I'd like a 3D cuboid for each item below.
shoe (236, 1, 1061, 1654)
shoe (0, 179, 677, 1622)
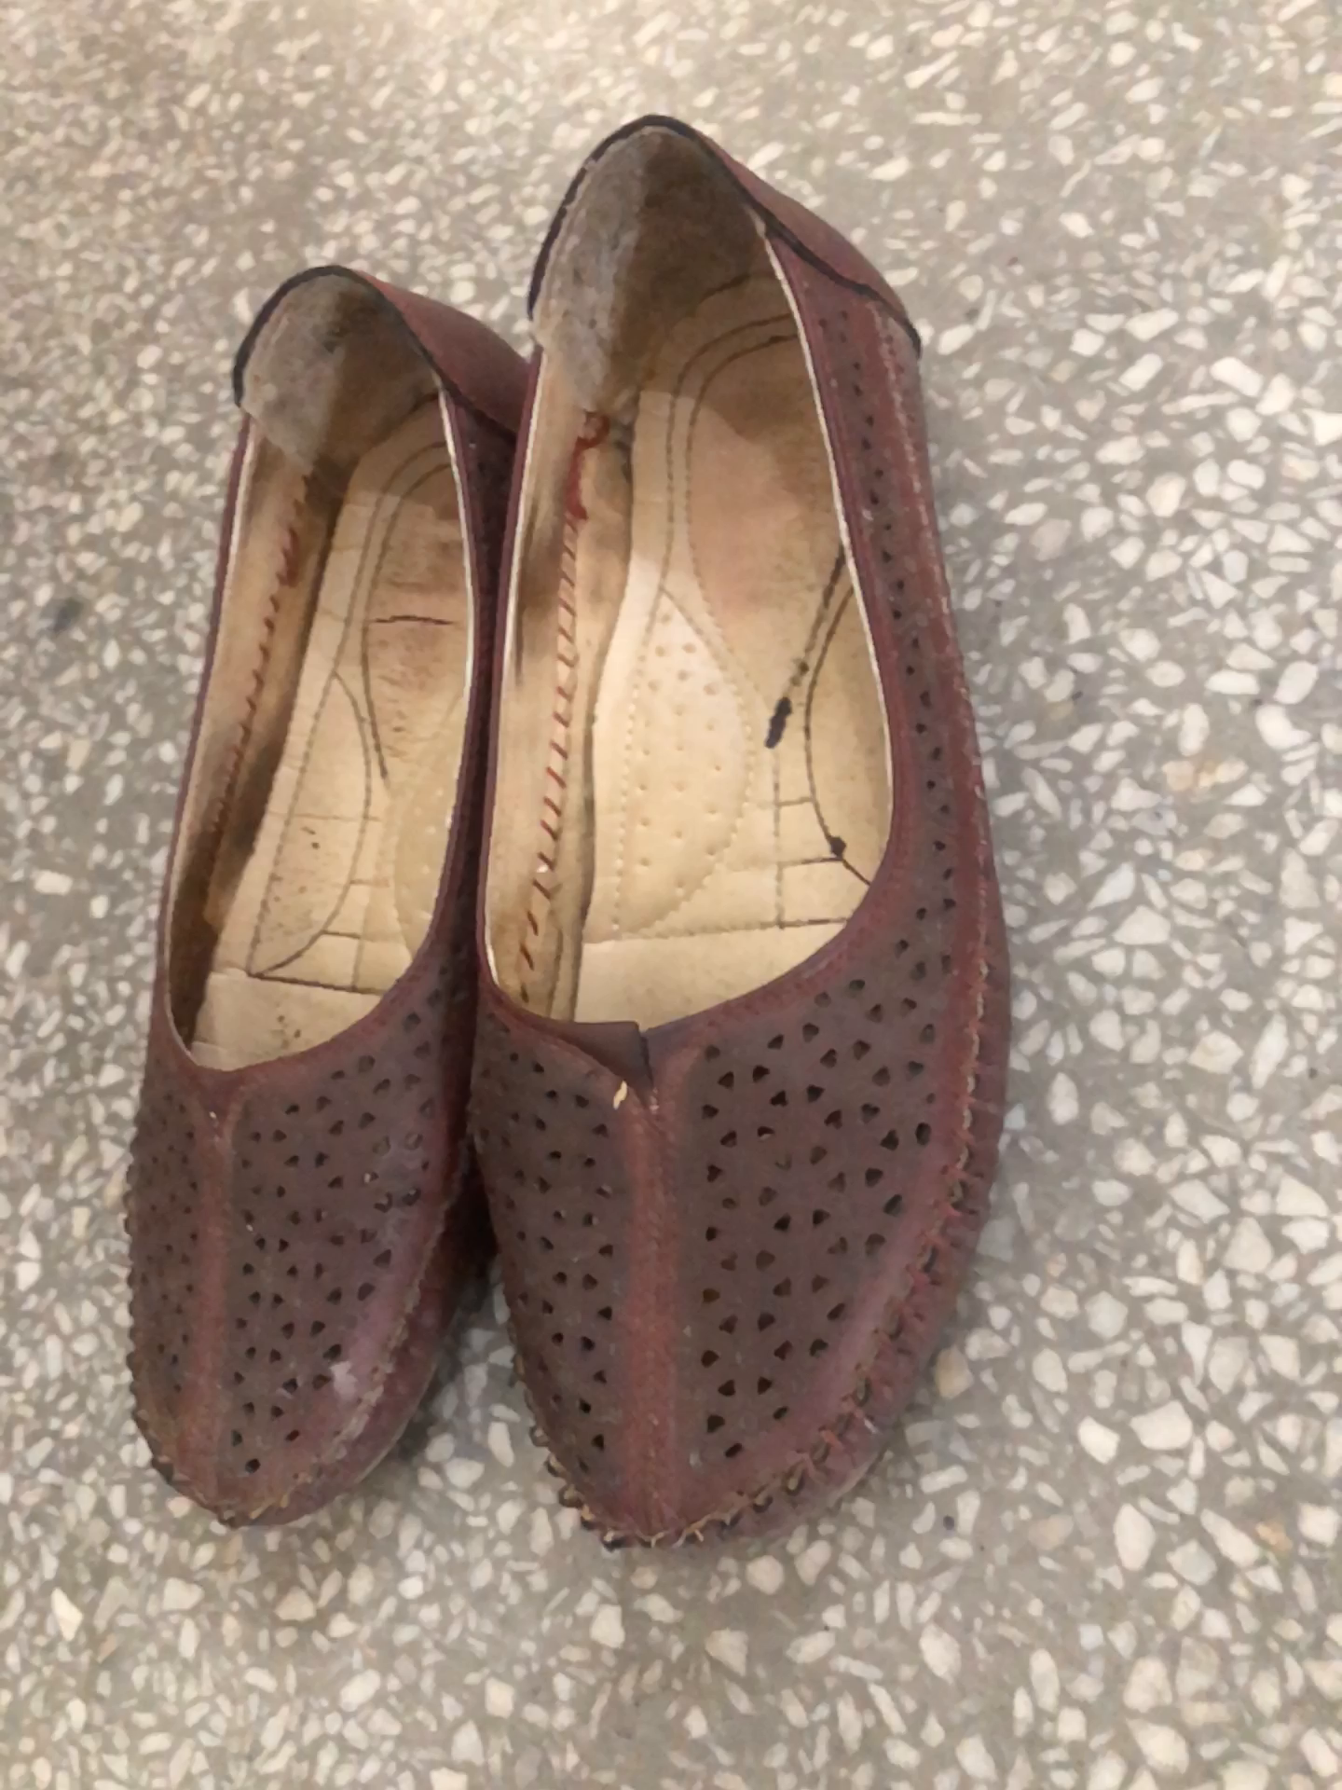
[{"bbox_3d":[0.003,-0.011,0.253,0.095,0.080,0.231,-7,72,26],"label":"shoe"},{"bbox_3d":[-0.071,-0.002,0.292,0.088,0.080,0.236,1,75,28],"label":"shoe"}]
